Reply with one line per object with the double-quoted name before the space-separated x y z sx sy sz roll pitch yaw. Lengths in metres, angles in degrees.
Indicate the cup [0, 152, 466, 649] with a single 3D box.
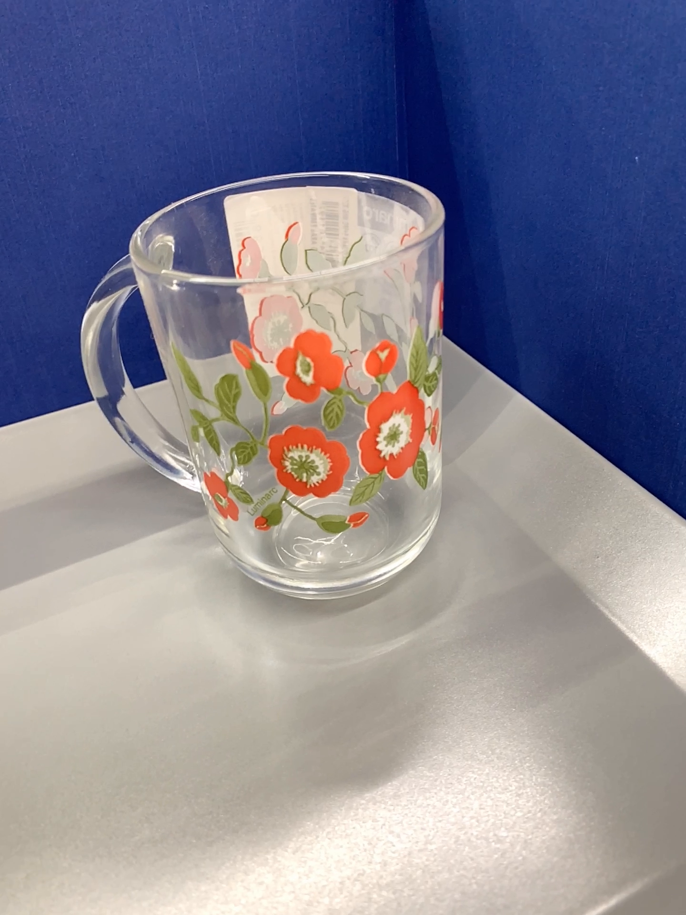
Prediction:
"cup" -0.027 -0.021 0.206 0.114 0.104 0.088 4 36 12
